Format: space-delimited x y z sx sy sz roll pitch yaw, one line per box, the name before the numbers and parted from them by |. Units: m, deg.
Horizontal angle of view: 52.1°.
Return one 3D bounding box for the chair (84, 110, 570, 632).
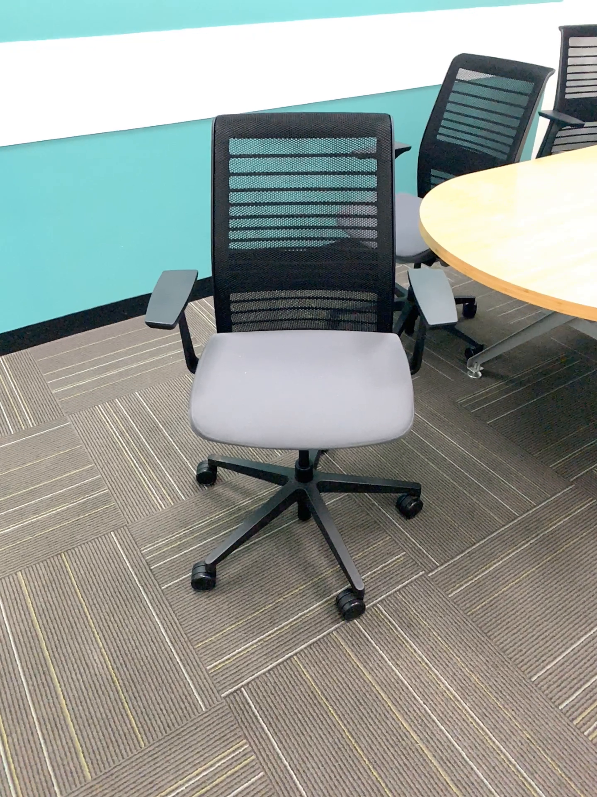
chair | 0.023 -0.097 1.543 0.730 0.984 0.845 -2 36 -3
